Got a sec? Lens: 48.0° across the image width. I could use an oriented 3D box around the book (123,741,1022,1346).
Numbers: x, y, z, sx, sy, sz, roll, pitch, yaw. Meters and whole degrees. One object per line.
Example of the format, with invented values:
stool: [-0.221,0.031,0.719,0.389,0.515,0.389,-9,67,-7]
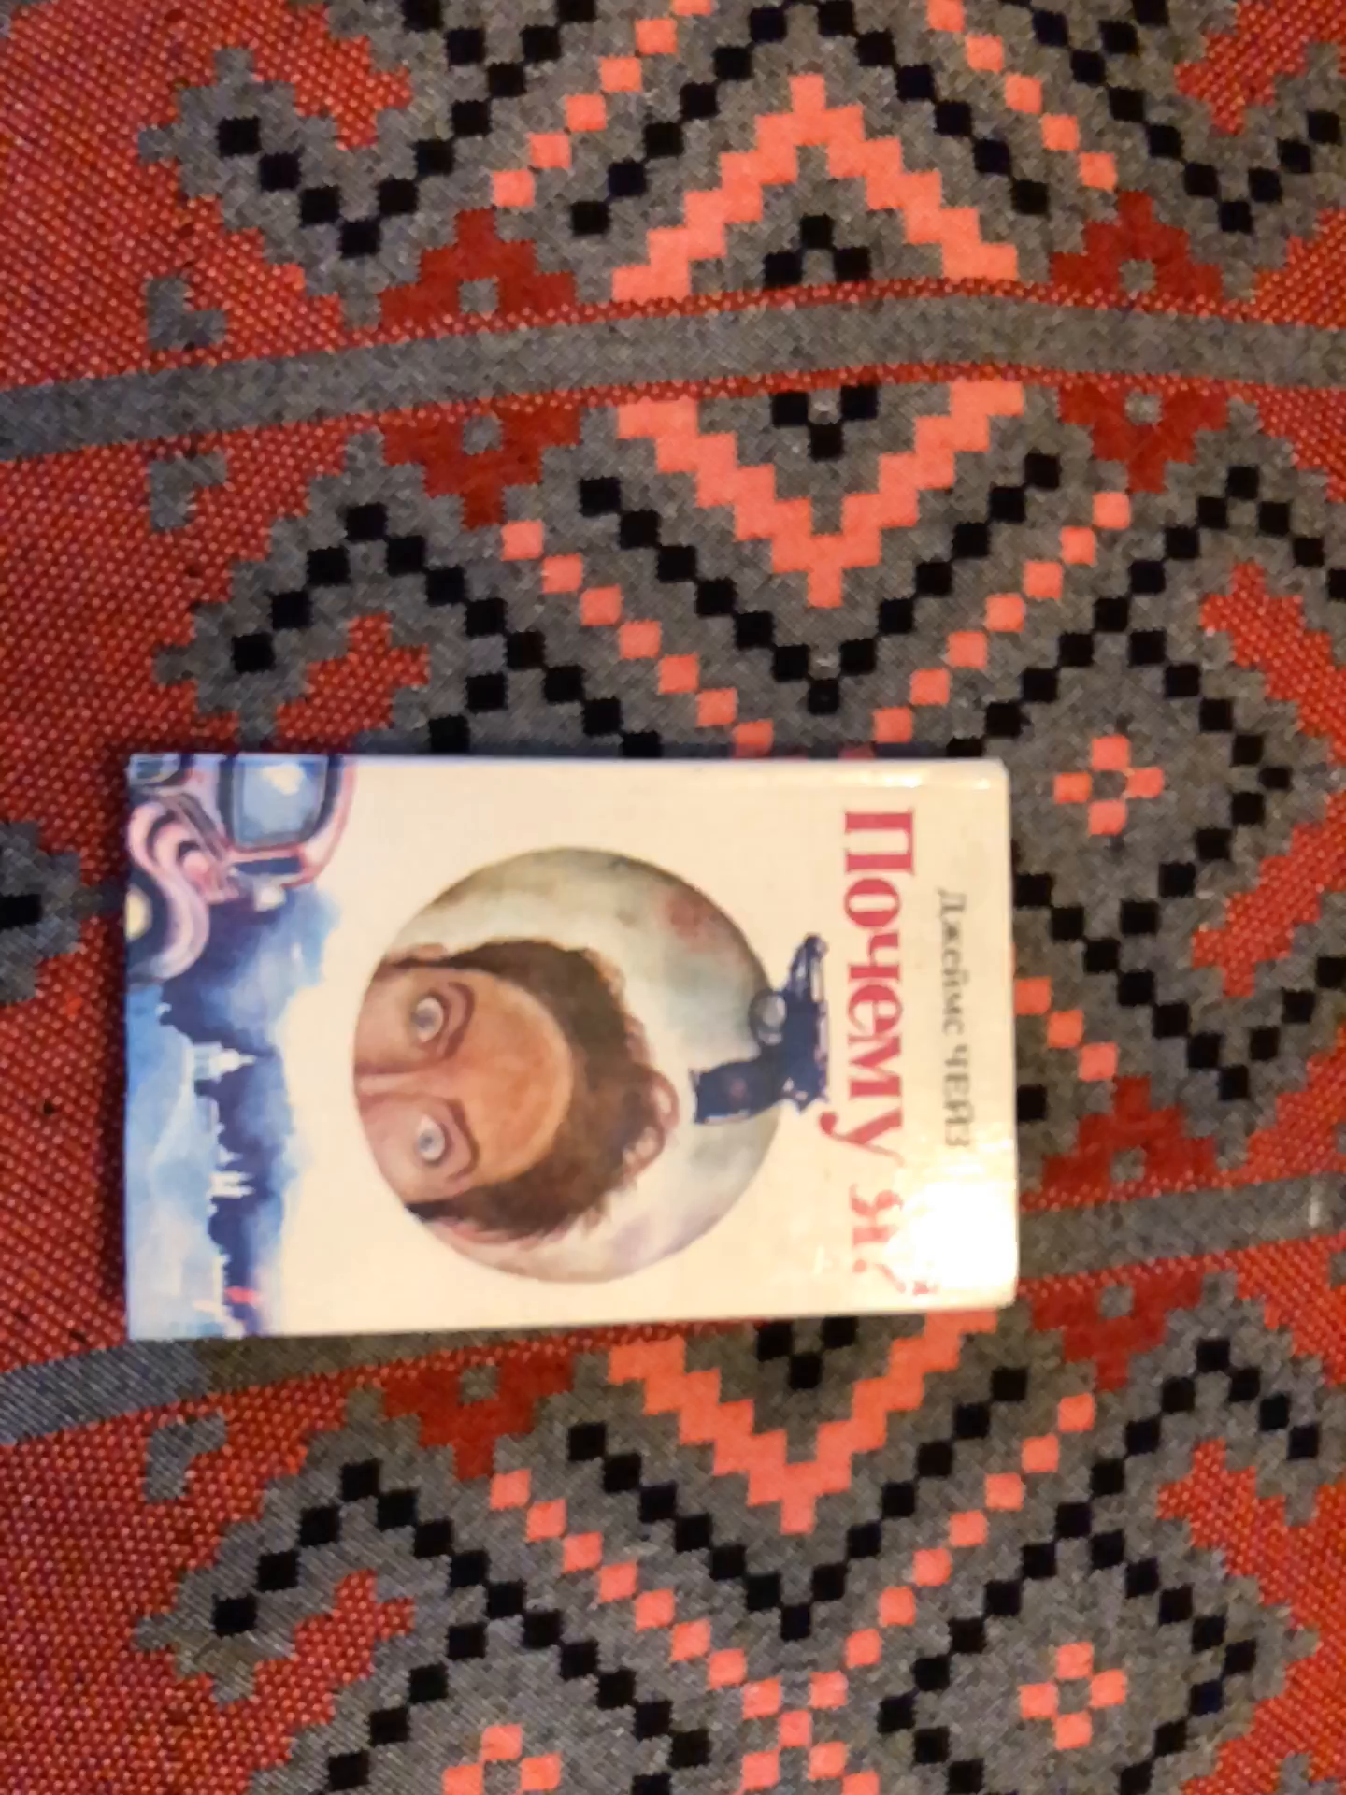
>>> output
book: [-0.021,0.032,0.359,0.204,0.029,0.133,0,88,-6]
